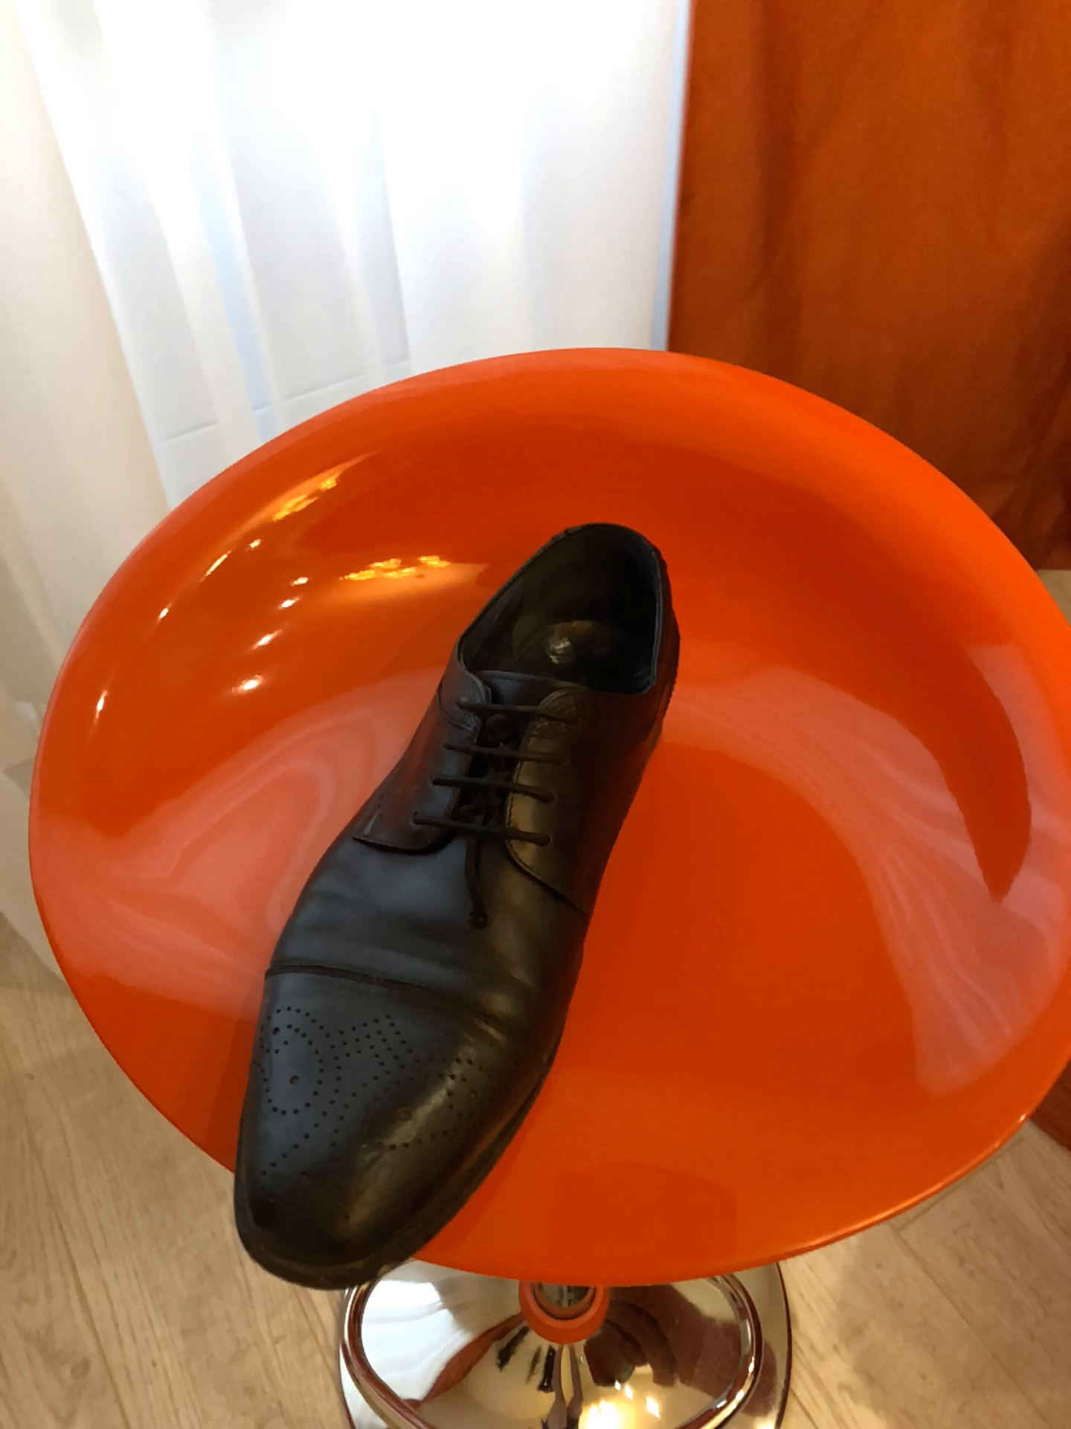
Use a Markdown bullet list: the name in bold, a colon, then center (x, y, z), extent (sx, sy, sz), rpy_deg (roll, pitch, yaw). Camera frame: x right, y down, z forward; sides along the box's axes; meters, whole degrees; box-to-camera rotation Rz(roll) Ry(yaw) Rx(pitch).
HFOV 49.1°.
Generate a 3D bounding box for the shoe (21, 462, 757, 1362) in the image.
- **shoe**: center (-0.024, 0.040, 0.420), extent (0.120, 0.079, 0.302), rpy_deg (16, 51, 16)
